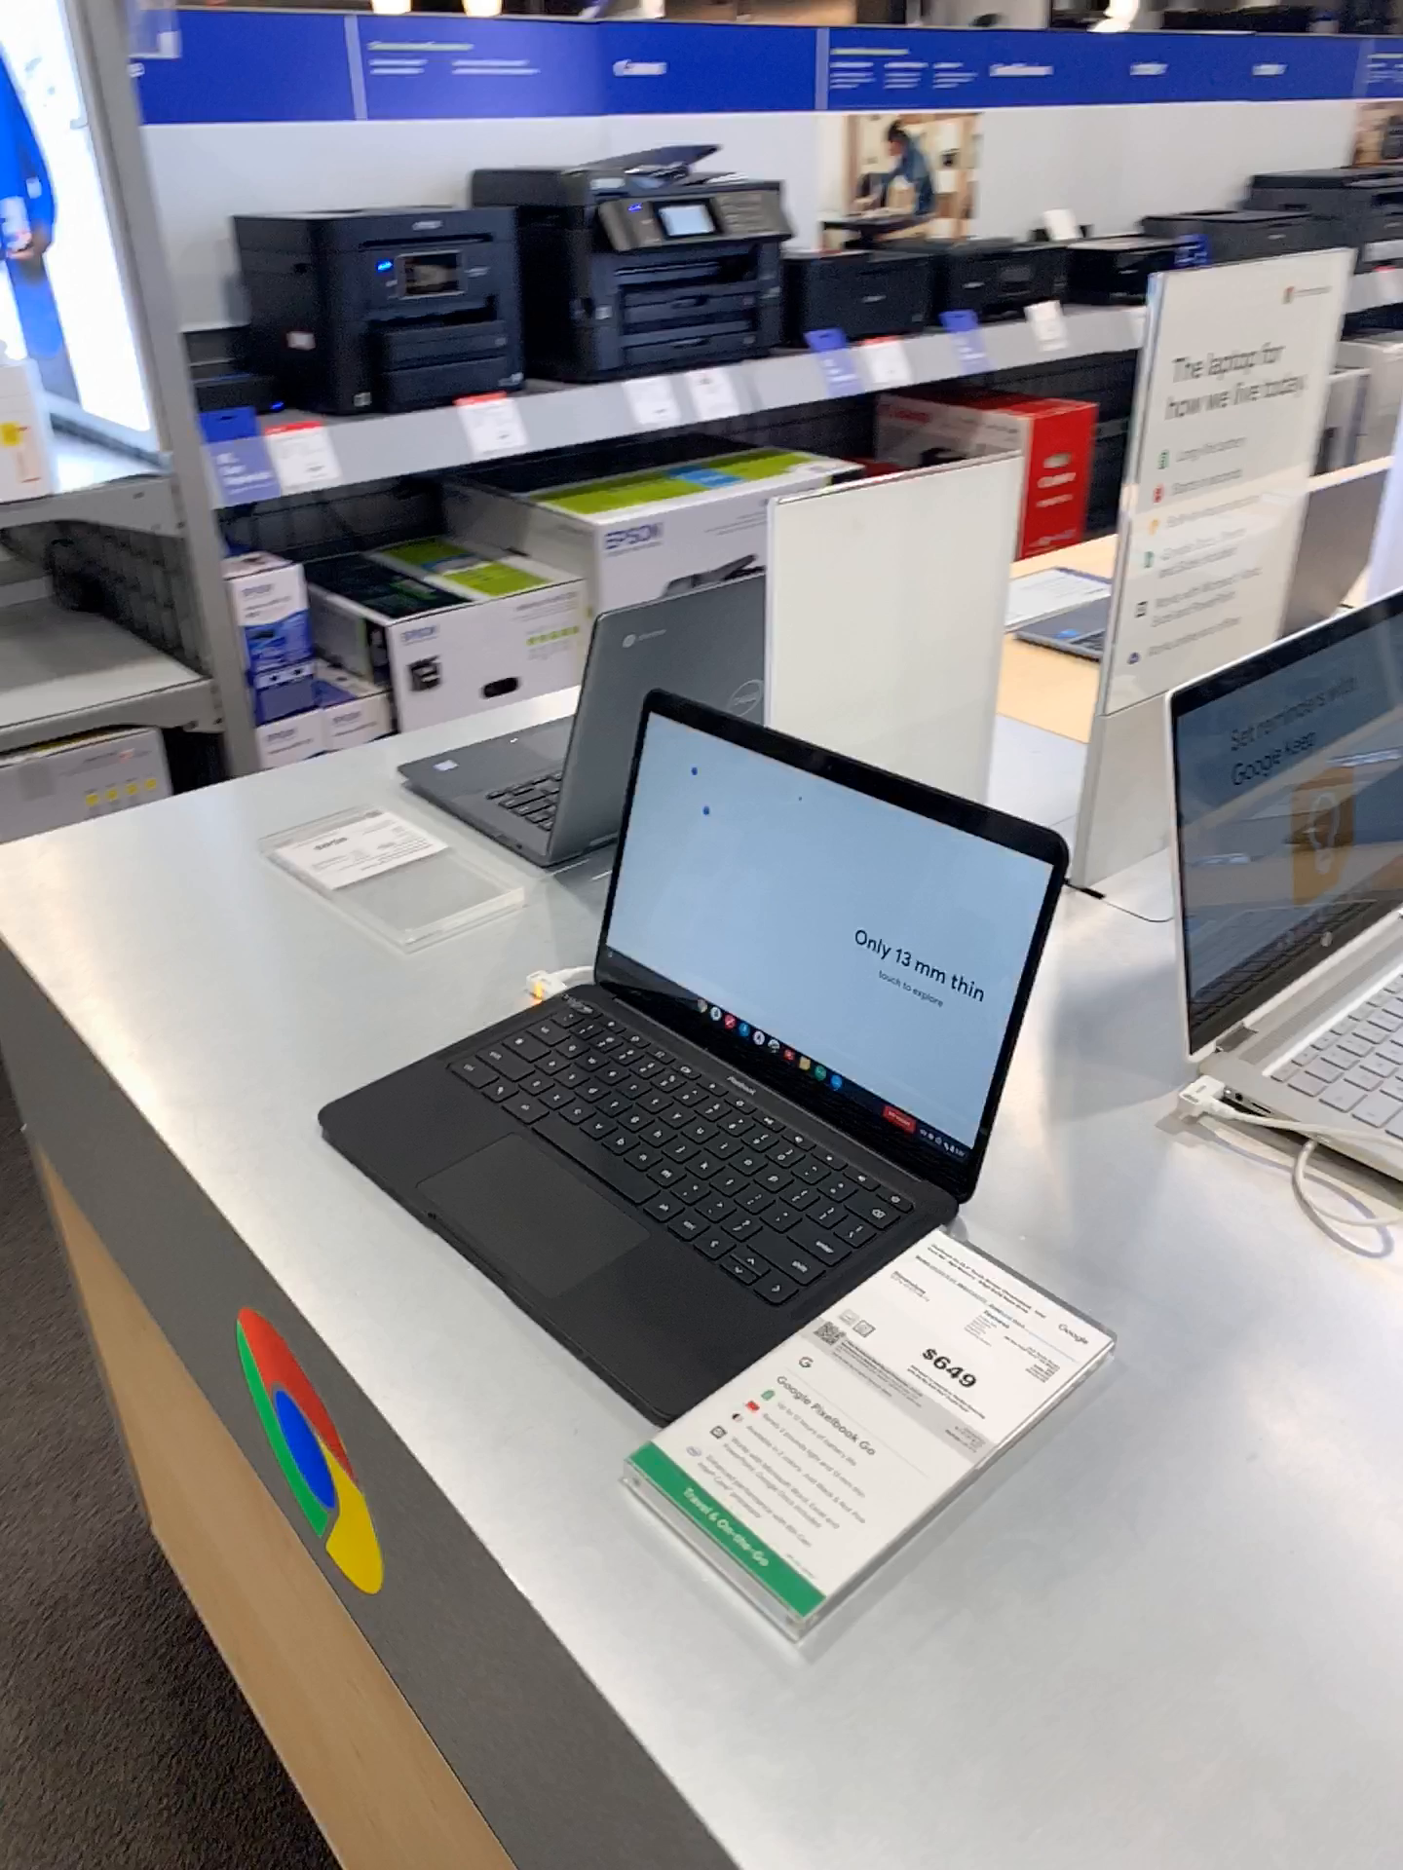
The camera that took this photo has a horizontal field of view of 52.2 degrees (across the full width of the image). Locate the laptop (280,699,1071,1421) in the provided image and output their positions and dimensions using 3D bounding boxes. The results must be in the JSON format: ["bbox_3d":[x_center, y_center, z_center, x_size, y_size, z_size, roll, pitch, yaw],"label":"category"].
[{"bbox_3d":[-0.018,0.033,0.740,0.253,0.180,0.295,-26,38,-35],"label":"laptop"}]
